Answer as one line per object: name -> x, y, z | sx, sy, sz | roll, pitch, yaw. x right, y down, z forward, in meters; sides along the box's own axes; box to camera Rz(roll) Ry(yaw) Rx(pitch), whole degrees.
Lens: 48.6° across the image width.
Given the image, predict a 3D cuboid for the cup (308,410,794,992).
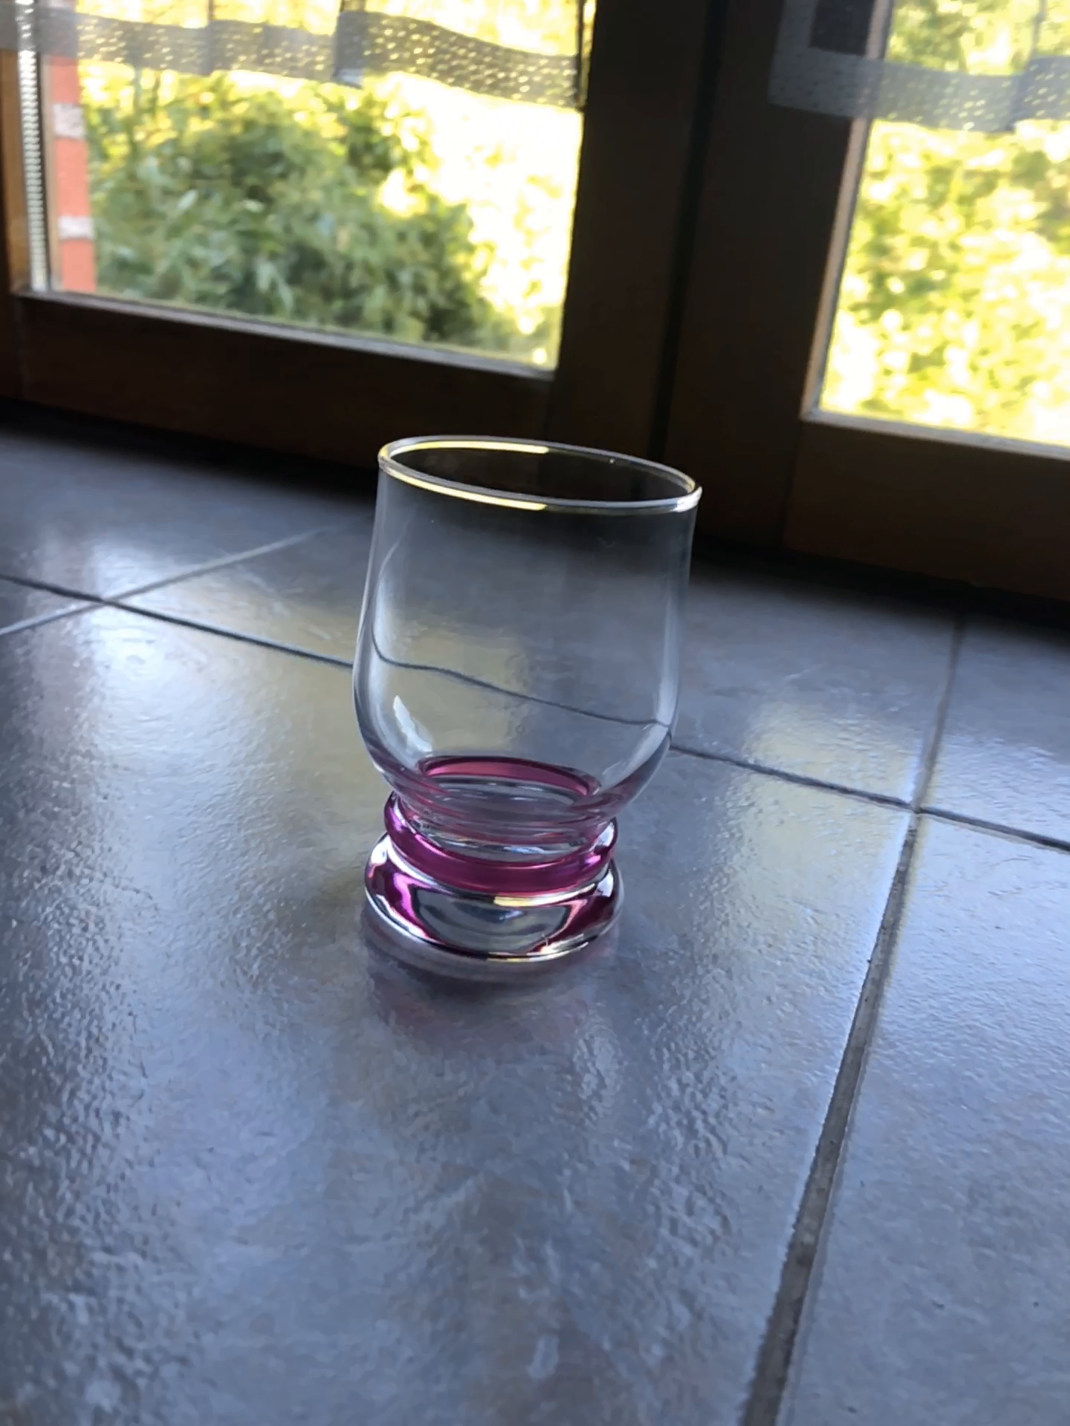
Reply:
cup -> -0.005, -0.006, 0.266 | 0.079, 0.102, 0.079 | 6, 22, -3
